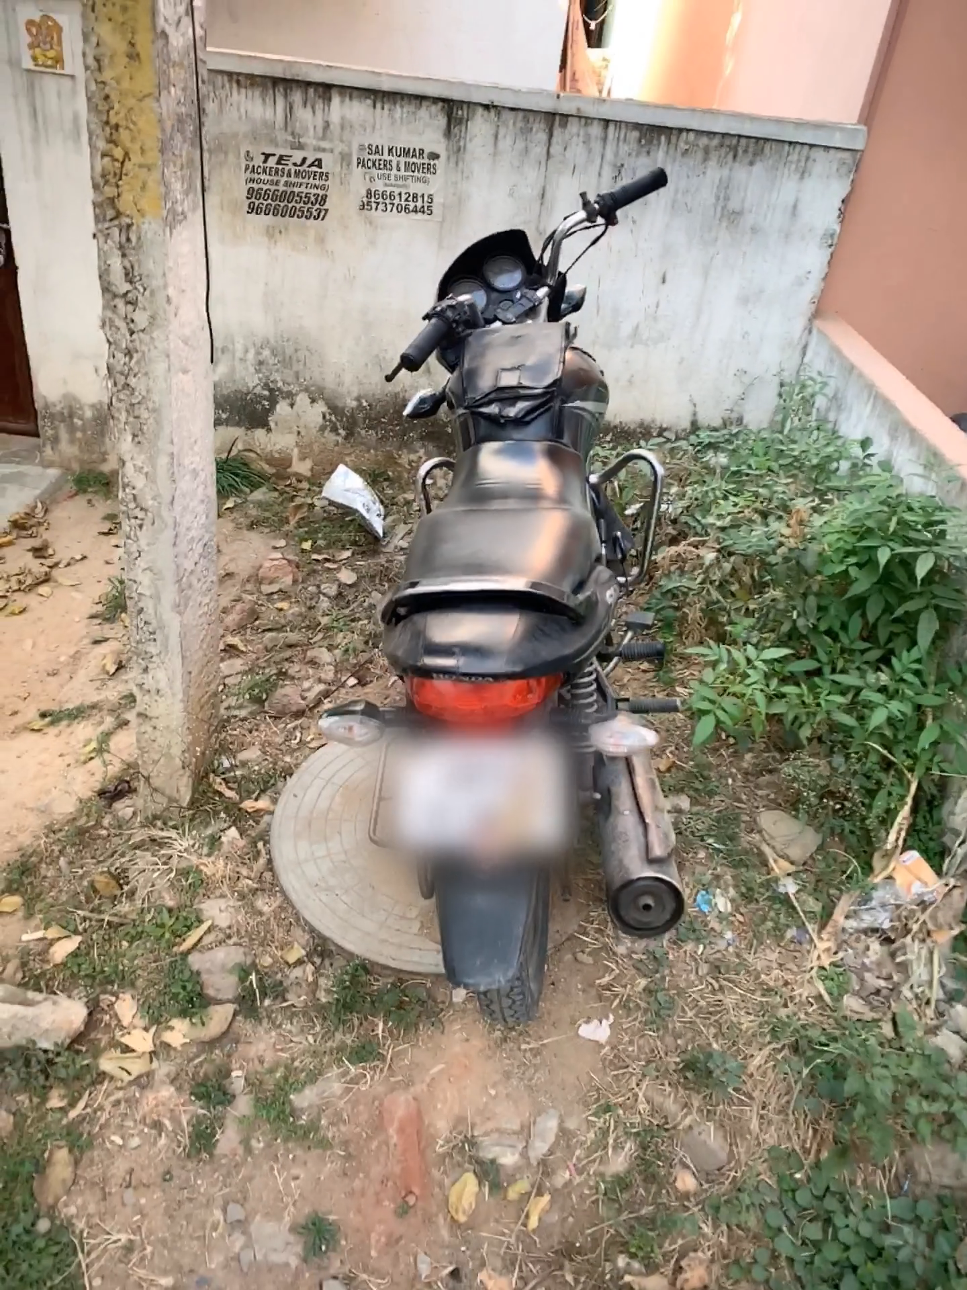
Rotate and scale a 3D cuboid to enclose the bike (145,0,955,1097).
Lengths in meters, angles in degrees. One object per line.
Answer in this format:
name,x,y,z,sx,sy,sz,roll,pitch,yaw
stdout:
bike,0.036,-0.280,1.591,0.734,1.101,1.245,6,42,-3
